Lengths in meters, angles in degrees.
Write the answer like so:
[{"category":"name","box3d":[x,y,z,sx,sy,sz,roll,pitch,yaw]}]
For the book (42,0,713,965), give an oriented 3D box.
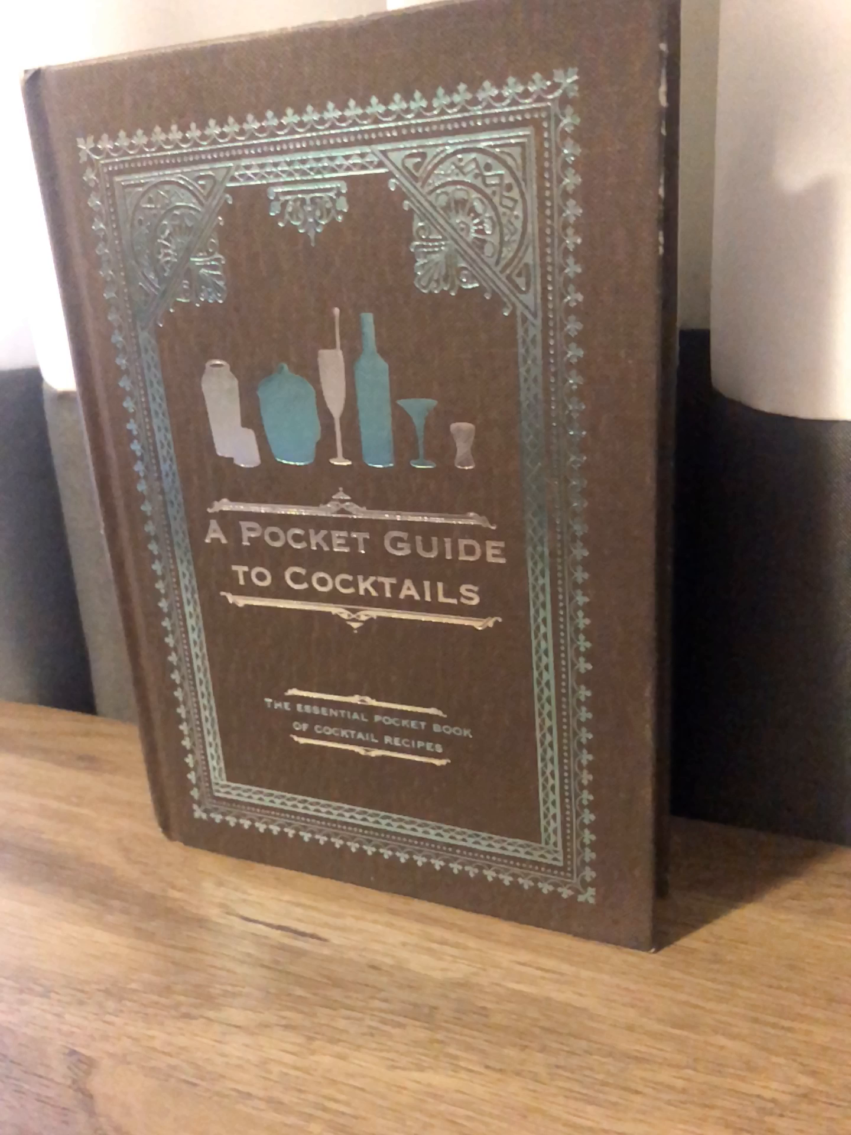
[{"category":"book","box3d":[-0.008,-0.012,0.220,0.136,0.200,0.022,4,21,23]}]
